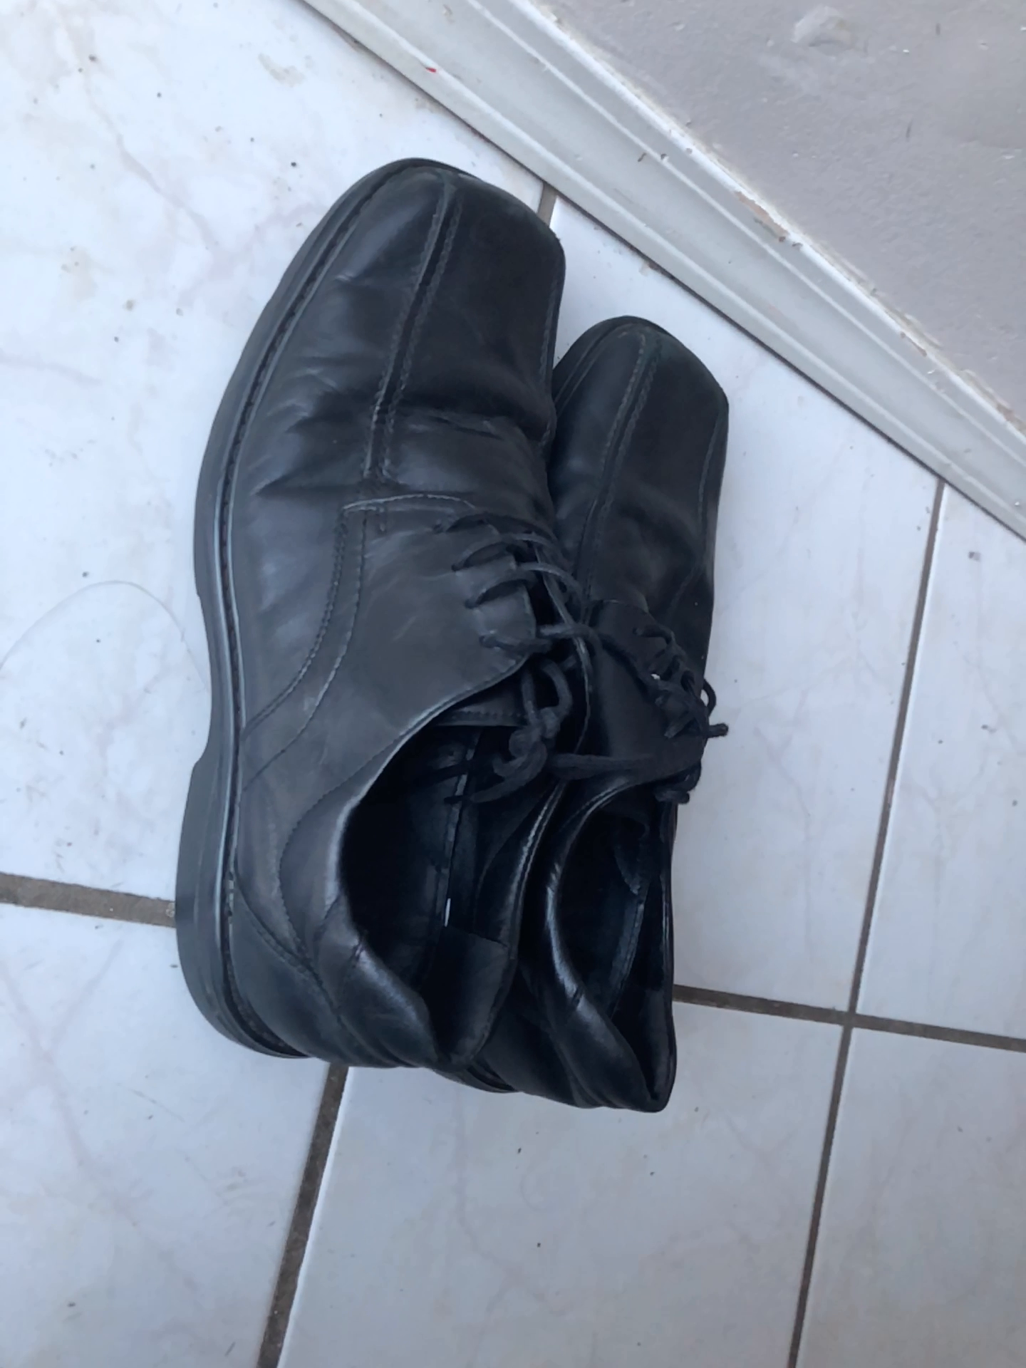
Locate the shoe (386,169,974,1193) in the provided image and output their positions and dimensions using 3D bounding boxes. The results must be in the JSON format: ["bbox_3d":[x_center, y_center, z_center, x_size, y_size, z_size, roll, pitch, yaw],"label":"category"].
[{"bbox_3d":[0.061,0.002,0.382,0.110,0.100,0.290,18,80,-38],"label":"shoe"}]

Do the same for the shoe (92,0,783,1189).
[{"bbox_3d":[-0.018,-0.026,0.329,0.120,0.100,0.290,14,83,-39],"label":"shoe"}]
